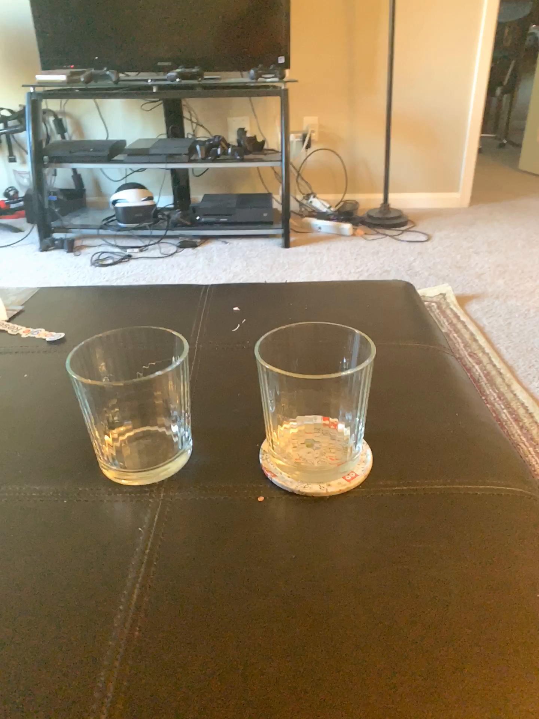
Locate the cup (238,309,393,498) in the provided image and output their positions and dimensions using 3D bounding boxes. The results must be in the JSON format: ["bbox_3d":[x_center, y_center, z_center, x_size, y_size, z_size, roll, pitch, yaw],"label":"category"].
[{"bbox_3d":[0.037,0.030,0.440,0.080,0.099,0.090,19,35,33],"label":"cup"}]

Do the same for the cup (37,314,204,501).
[{"bbox_3d":[-0.111,0.033,0.432,0.080,0.099,0.080,-1,29,1],"label":"cup"}]
